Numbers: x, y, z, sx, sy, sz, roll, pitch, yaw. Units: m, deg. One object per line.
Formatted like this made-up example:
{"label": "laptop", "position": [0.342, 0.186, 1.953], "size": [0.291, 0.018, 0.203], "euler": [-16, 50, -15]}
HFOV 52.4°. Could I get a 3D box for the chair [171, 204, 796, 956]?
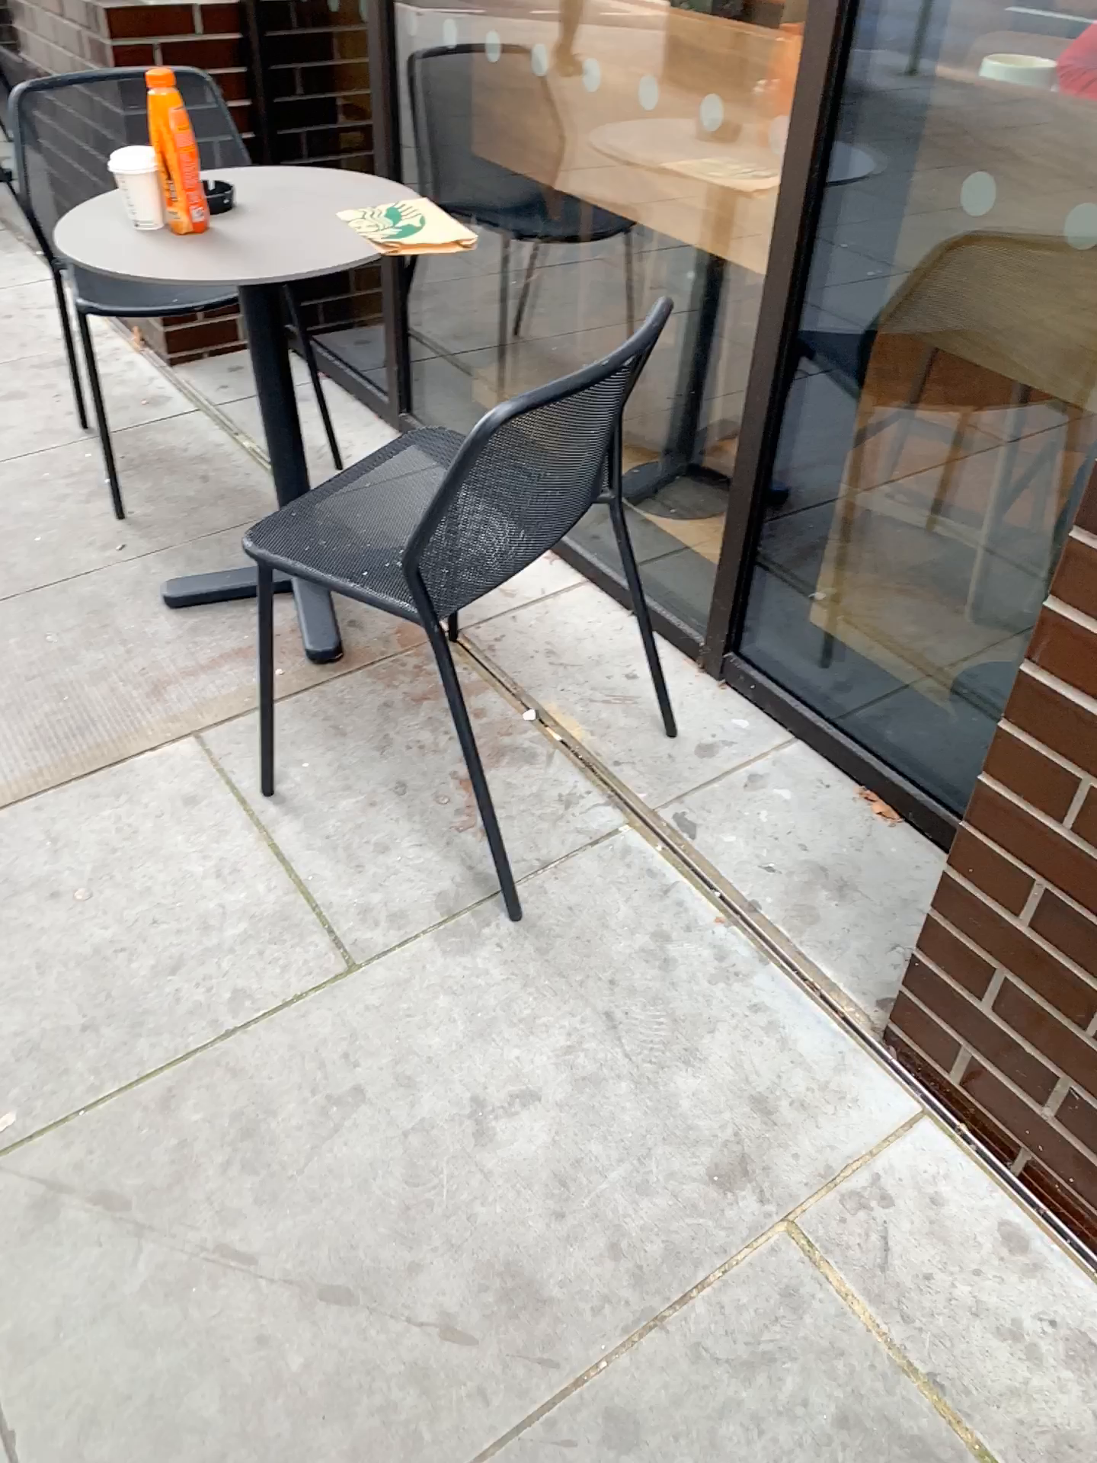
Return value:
{"label": "chair", "position": [-0.079, -0.242, 1.656], "size": [0.542, 0.797, 0.594], "euler": [25, 44, 24]}
